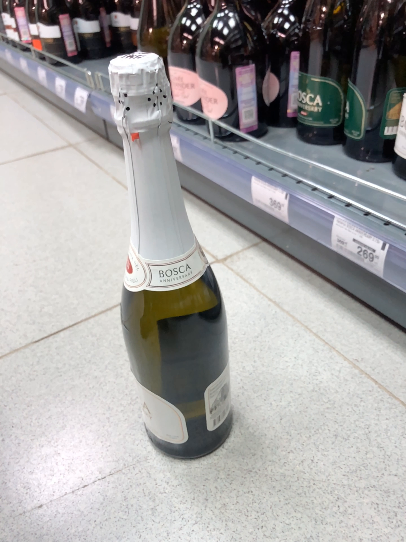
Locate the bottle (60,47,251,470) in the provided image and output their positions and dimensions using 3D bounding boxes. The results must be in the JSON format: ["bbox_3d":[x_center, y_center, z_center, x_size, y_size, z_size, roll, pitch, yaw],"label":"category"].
[{"bbox_3d":[-0.022,0.012,0.342,0.090,0.308,0.091,-3,35,2],"label":"bottle"}]
